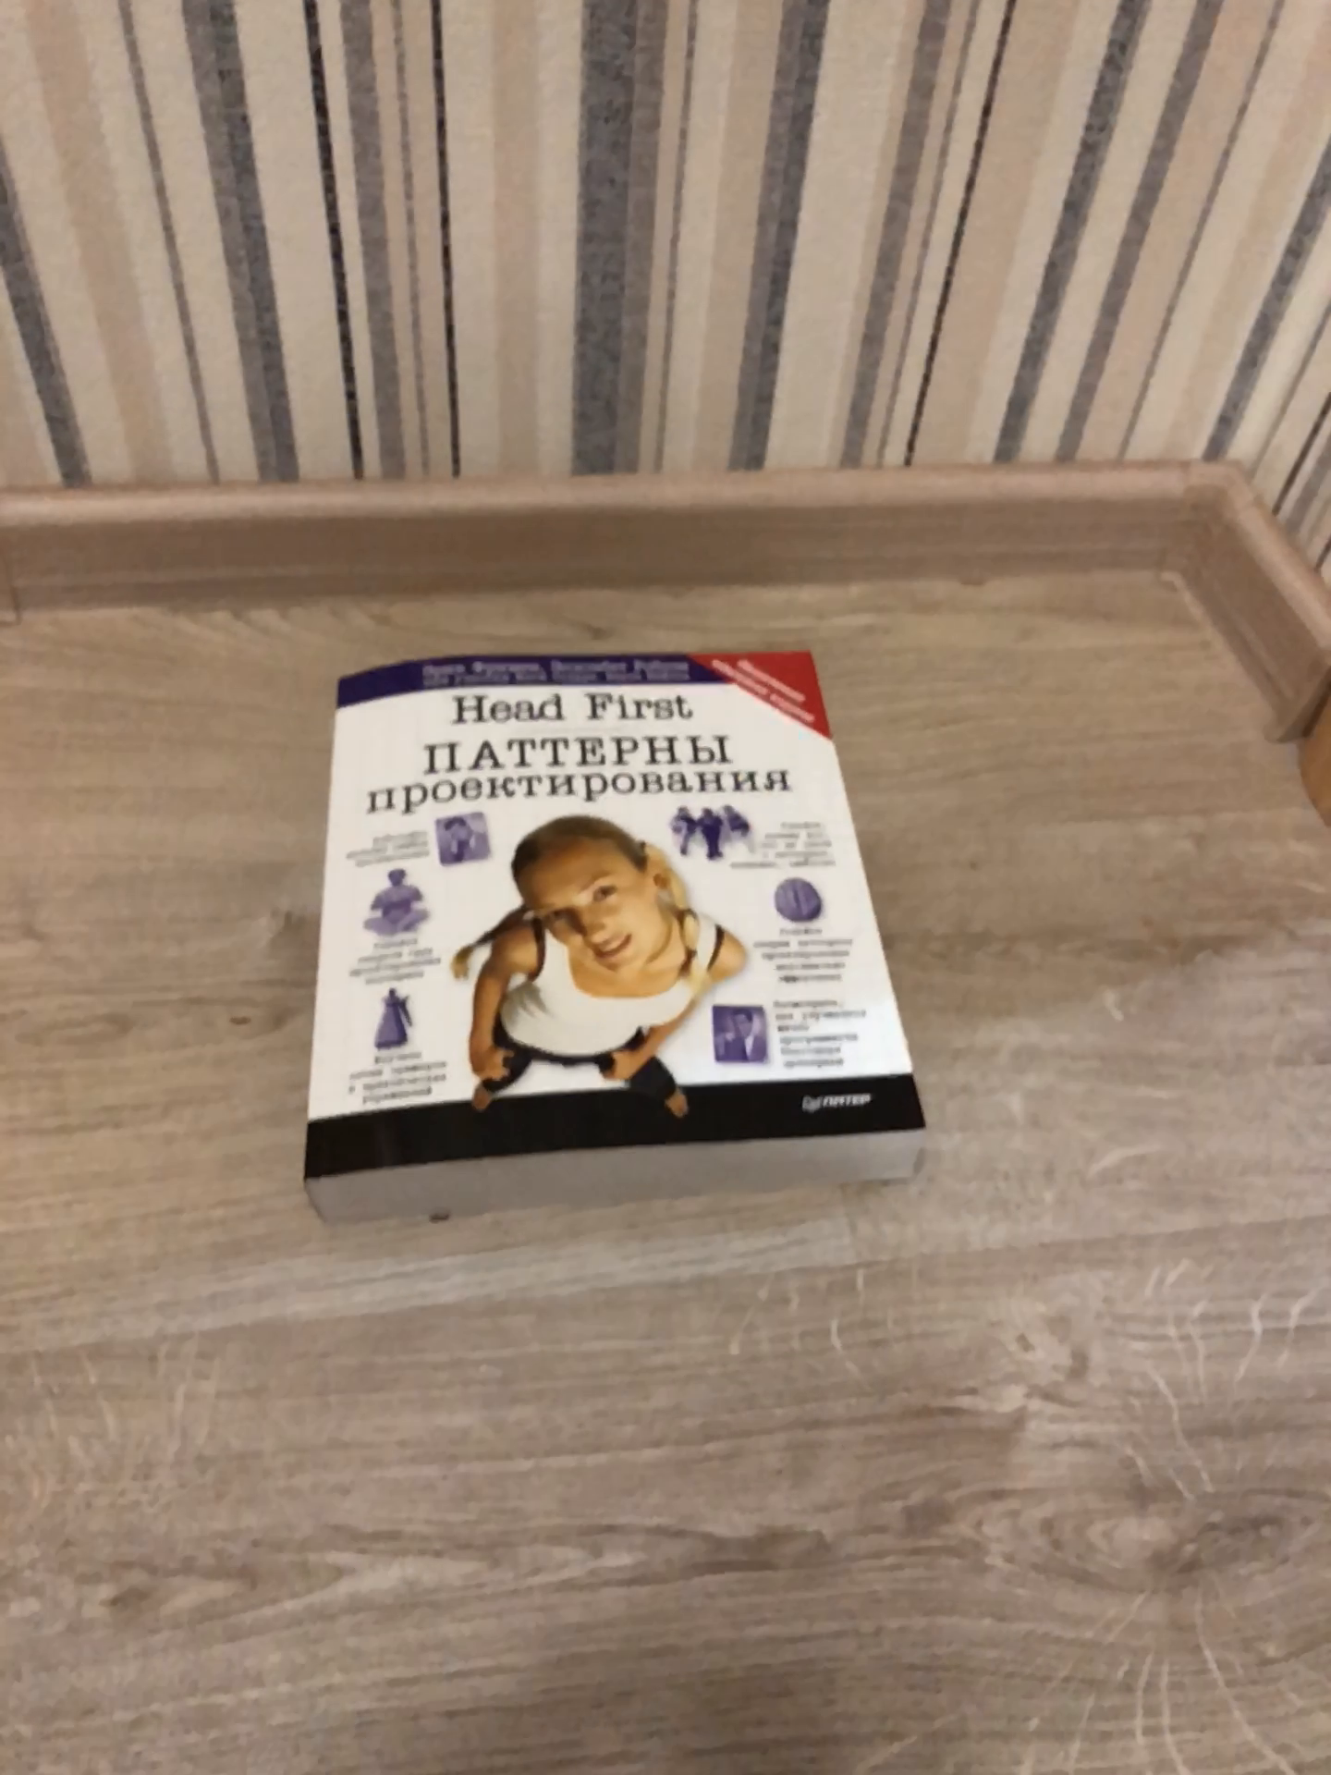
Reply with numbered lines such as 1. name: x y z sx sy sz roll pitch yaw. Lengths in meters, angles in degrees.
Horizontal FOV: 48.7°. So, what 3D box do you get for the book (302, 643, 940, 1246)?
1. book: -0.026 0.008 0.566 0.206 0.049 0.242 -2 51 -8
